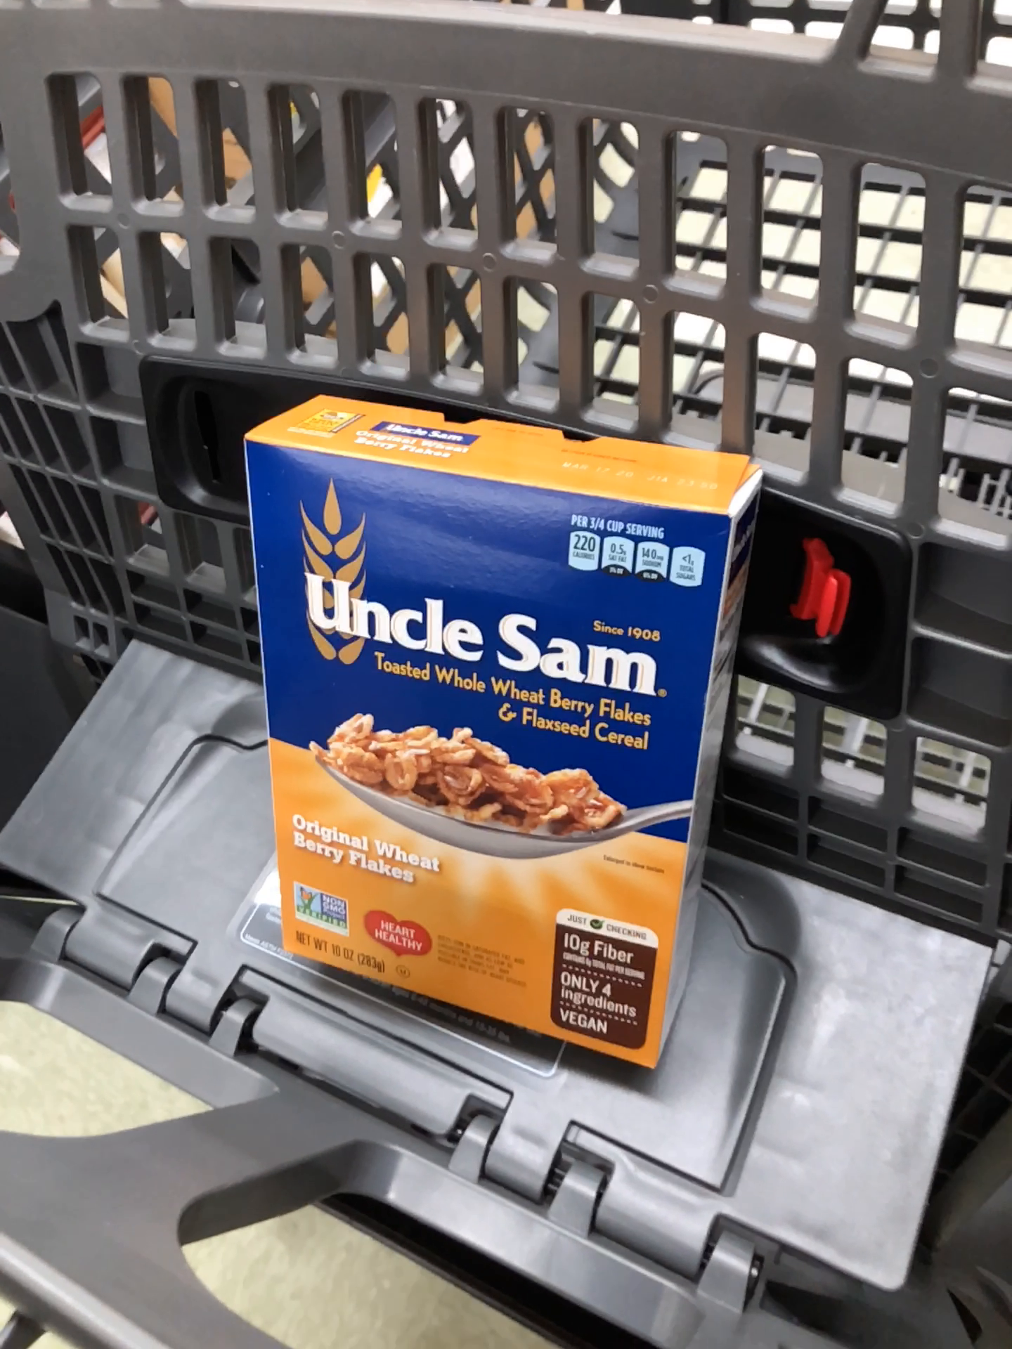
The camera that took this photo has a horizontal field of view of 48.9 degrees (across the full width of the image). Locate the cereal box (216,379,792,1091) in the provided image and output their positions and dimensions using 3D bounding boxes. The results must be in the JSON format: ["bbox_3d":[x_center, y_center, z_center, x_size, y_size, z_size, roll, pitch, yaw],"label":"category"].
[{"bbox_3d":[-0.005,0.022,0.373,0.160,0.210,0.050,13,31,19],"label":"cereal box"}]
